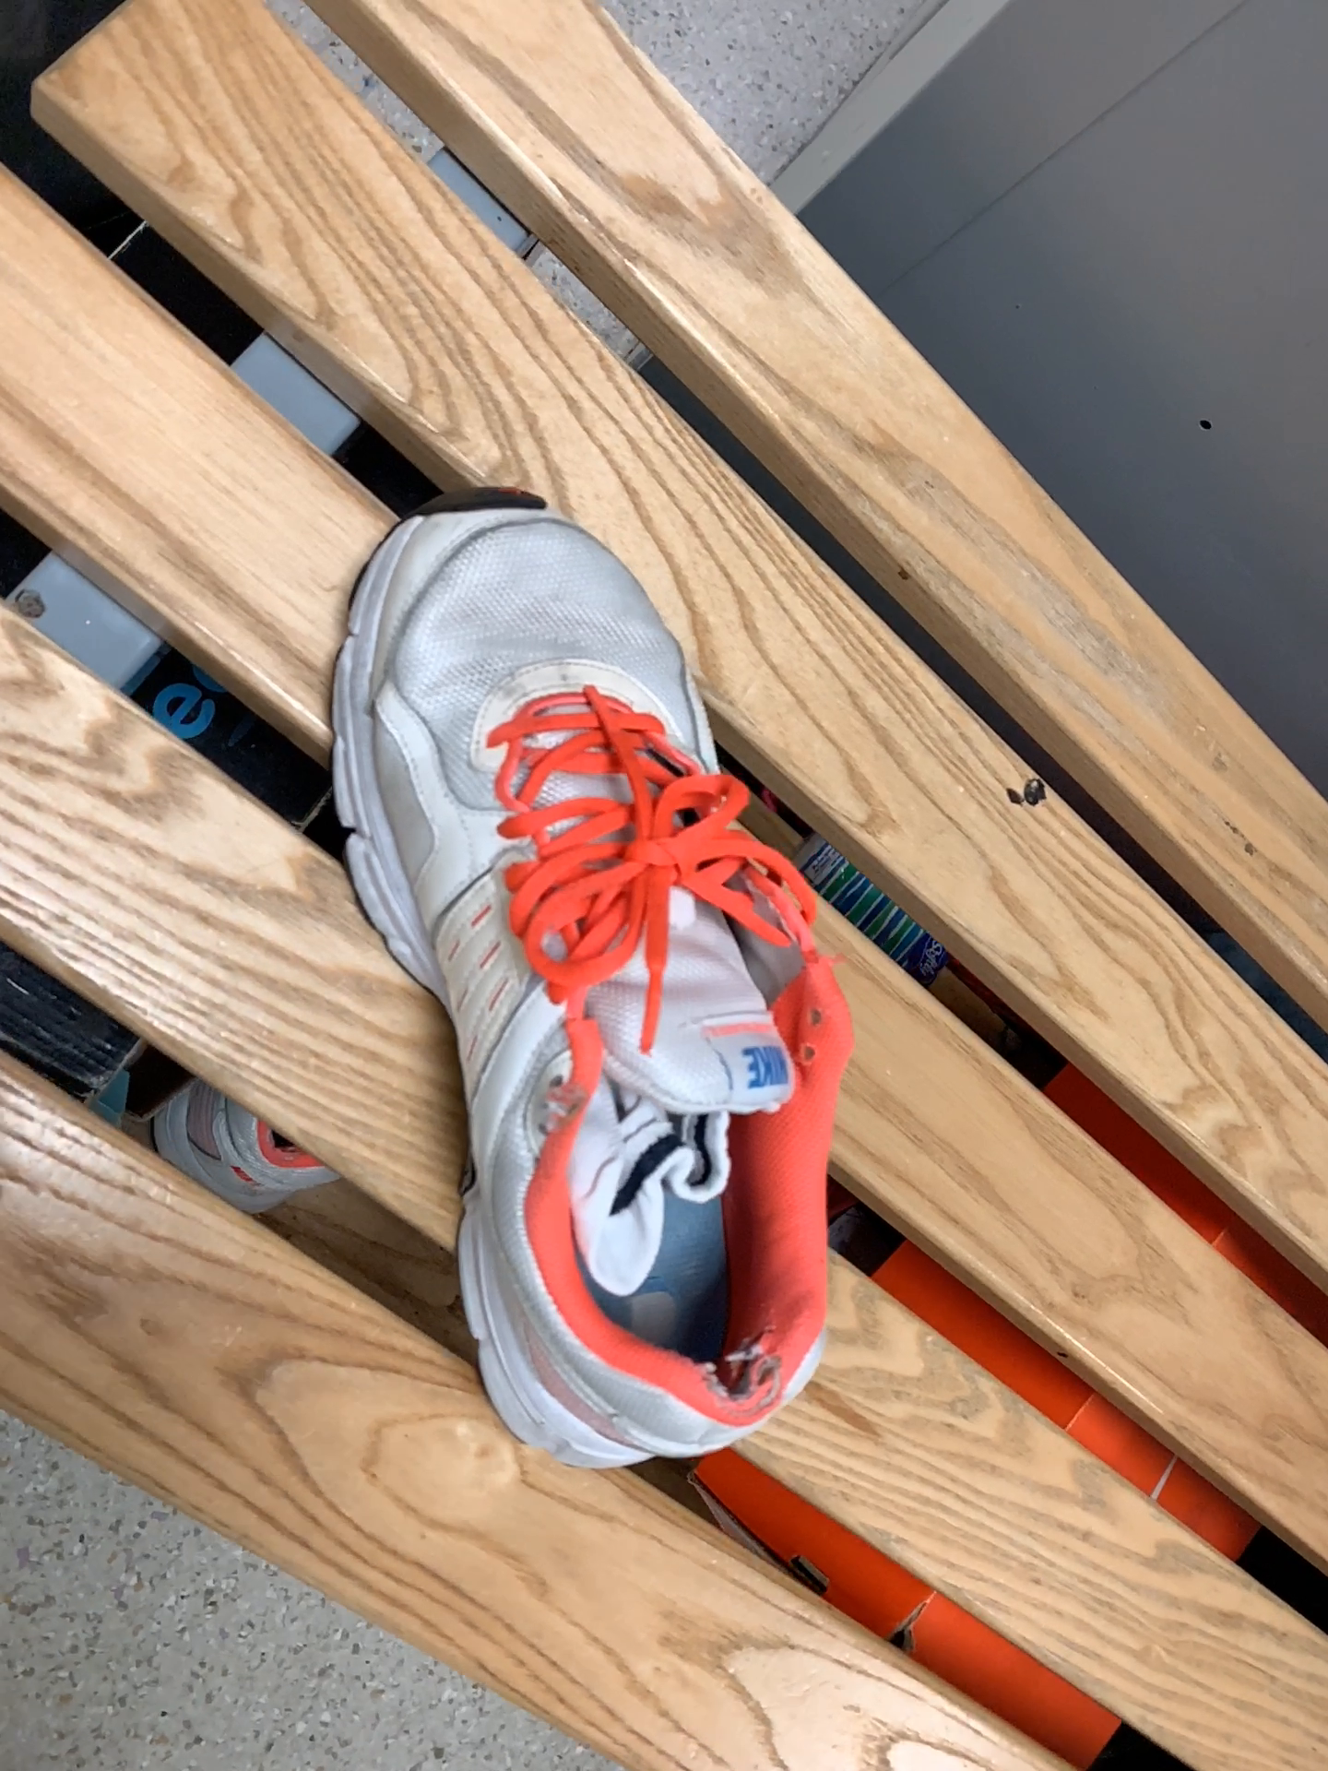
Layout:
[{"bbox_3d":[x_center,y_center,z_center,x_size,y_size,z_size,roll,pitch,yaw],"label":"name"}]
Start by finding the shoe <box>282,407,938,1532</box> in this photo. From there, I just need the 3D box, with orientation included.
[{"bbox_3d":[-0.017,0.013,0.348,0.111,0.079,0.241,-8,89,-27],"label":"shoe"}]
